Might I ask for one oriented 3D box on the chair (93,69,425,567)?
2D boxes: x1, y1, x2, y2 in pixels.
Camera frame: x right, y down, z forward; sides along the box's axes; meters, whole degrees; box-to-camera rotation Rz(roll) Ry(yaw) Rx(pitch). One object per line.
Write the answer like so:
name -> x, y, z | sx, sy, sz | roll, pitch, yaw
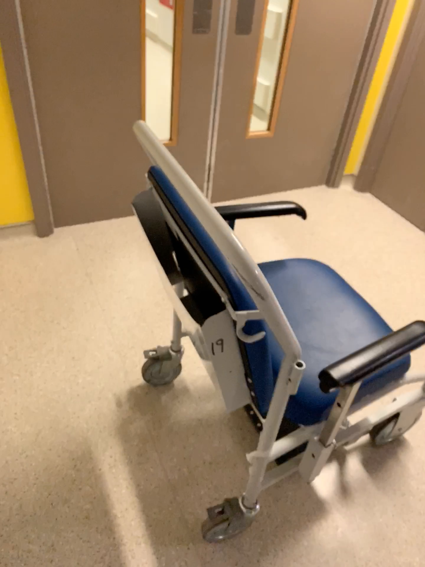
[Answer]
chair -> 0.248, 0.049, 1.292 | 0.942, 1.030, 0.827 | -12, 44, -21
